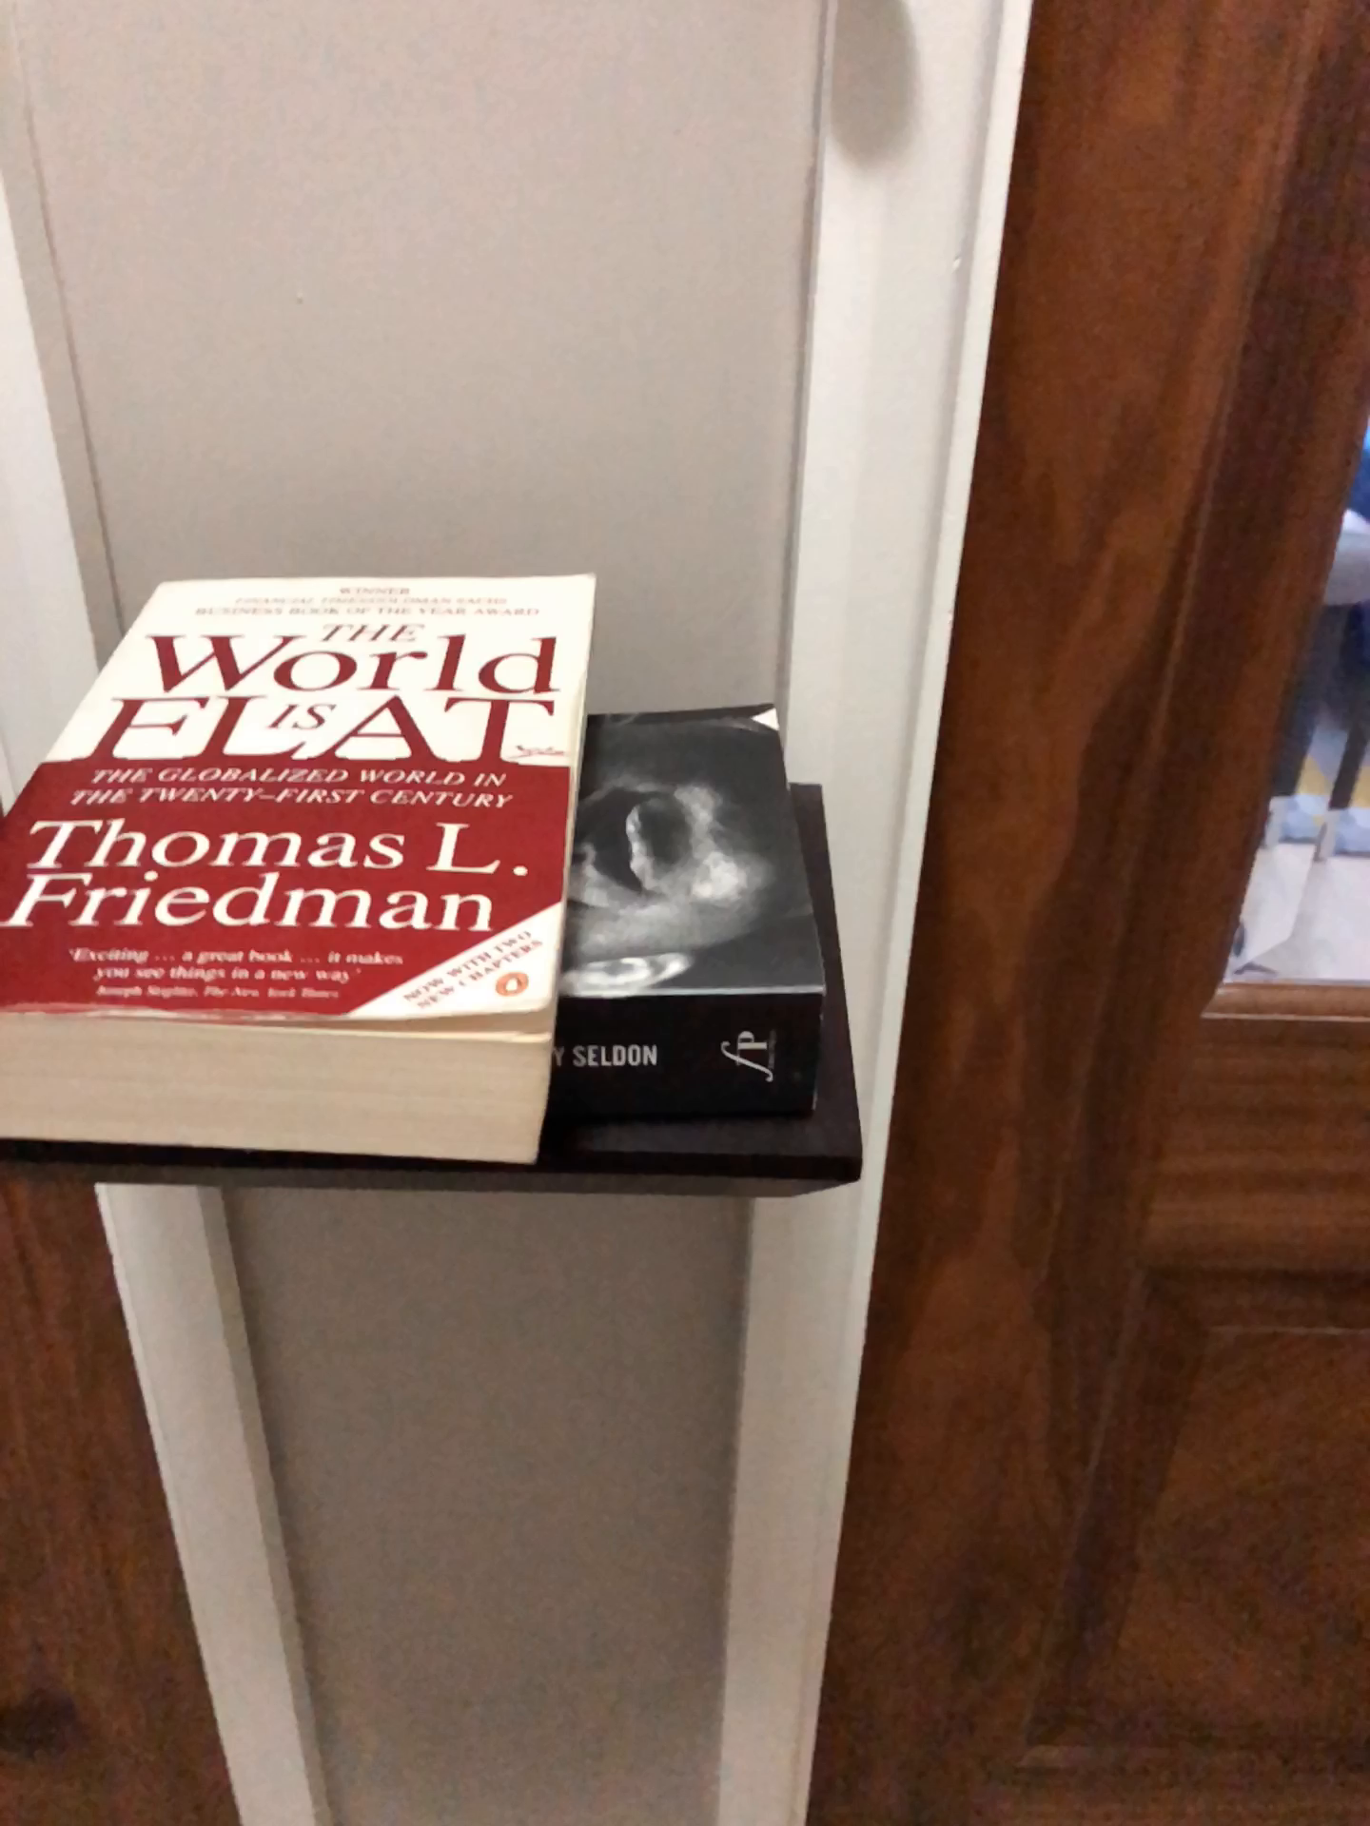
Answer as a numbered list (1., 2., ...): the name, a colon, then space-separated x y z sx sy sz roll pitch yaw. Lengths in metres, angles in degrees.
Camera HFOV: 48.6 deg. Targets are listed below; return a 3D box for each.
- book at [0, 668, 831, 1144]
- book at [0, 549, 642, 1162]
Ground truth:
1. book: -0.071 -0.009 0.423 0.200 0.040 0.151 0 42 -6
2. book: -0.086 -0.029 0.371 0.140 0.040 0.212 0 35 2
